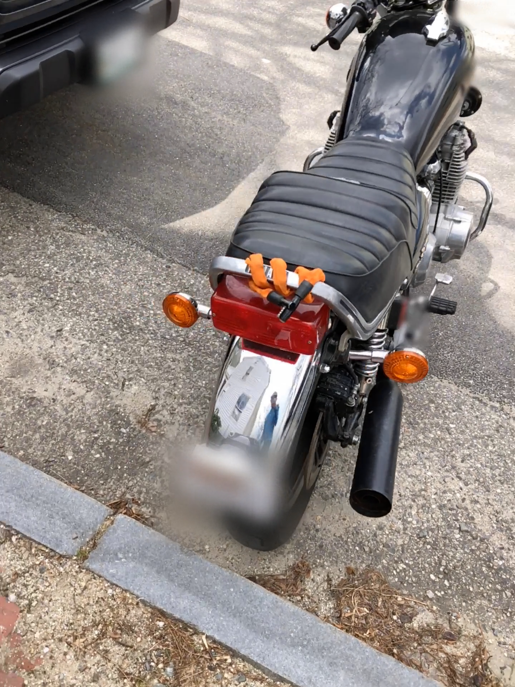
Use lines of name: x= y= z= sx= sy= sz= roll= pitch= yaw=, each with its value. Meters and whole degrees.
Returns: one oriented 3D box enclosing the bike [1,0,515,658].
bike: x=0.356 y=-0.553 z=1.788 sx=0.686 sy=1.419 sz=2.311 roll=19 pitch=47 yaw=9
